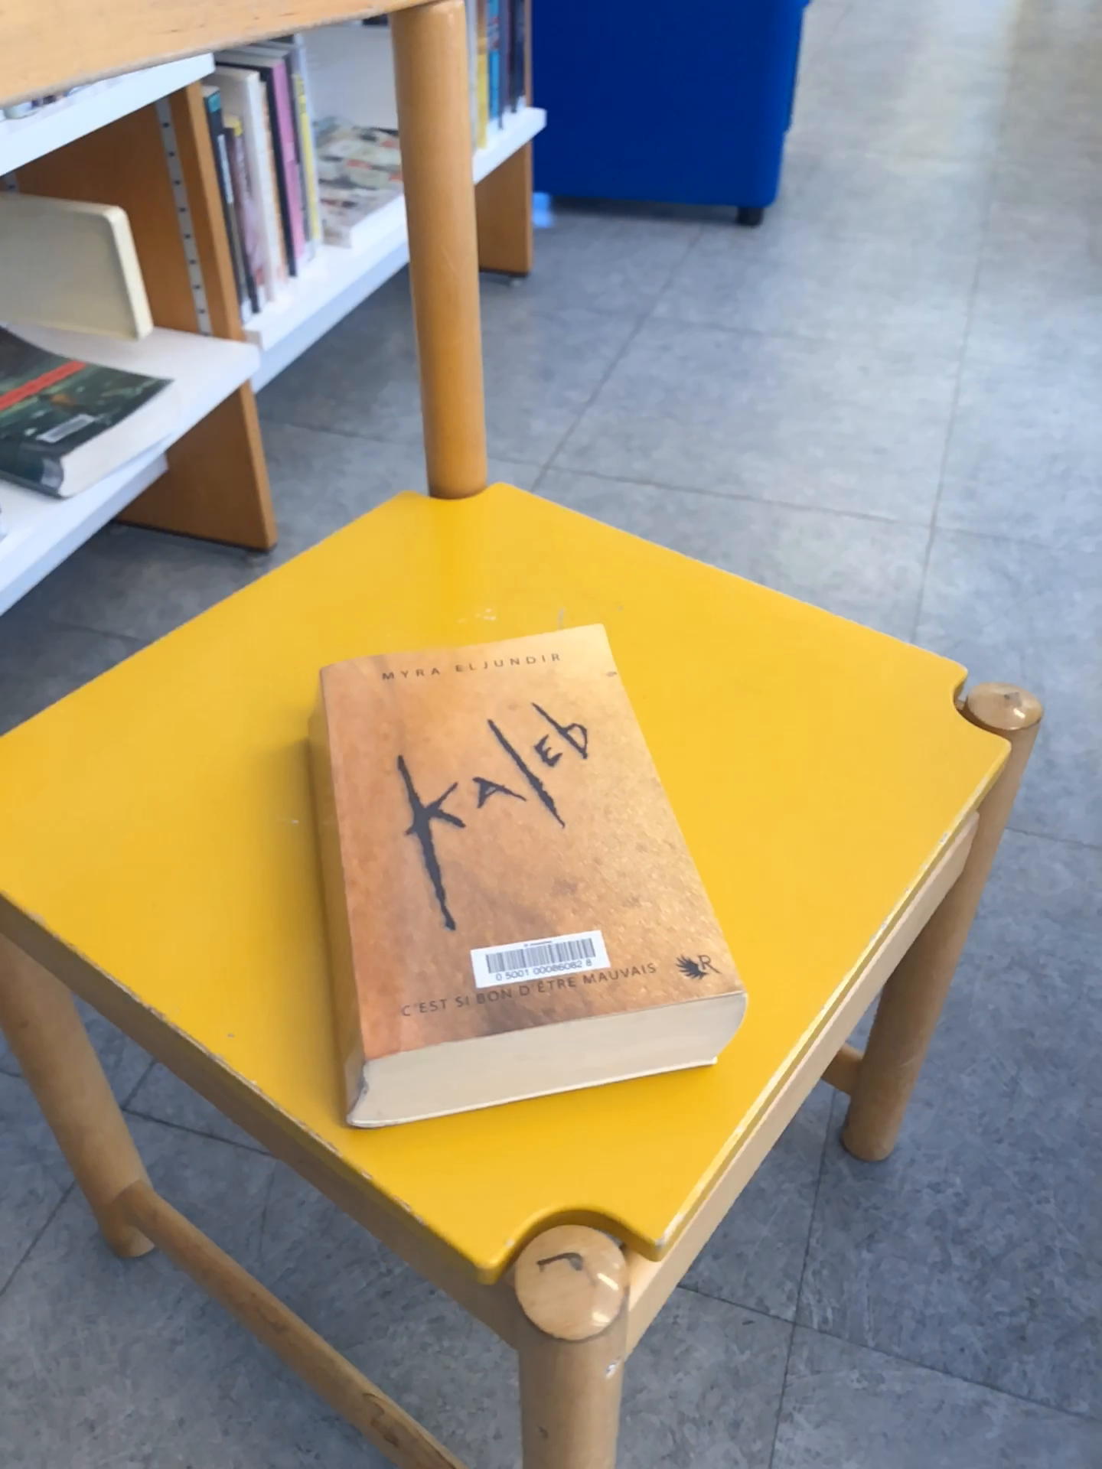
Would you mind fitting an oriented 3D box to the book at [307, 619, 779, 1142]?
[{"bbox_3d":[-0.017,0.043,0.503,0.149,0.043,0.224,-8,42,-9],"label":"book"}]
